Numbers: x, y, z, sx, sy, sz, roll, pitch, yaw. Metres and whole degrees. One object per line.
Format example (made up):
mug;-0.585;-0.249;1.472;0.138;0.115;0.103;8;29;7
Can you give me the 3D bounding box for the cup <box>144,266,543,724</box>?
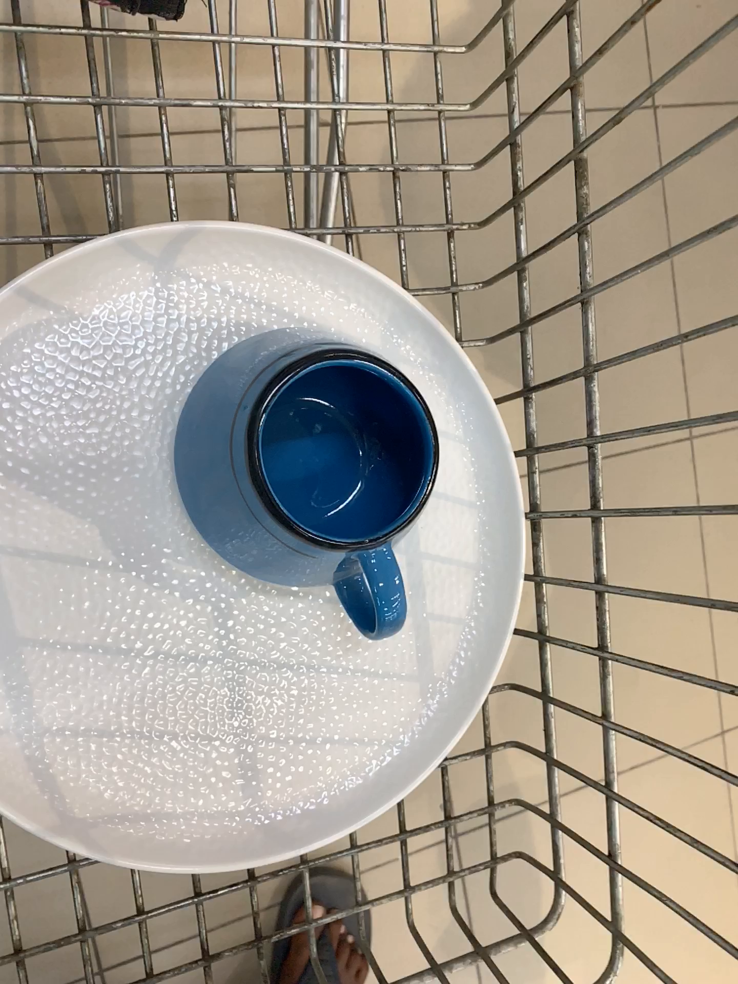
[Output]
cup;-0.014;-0.003;0.302;0.100;0.090;0.130;-22;101;-16
